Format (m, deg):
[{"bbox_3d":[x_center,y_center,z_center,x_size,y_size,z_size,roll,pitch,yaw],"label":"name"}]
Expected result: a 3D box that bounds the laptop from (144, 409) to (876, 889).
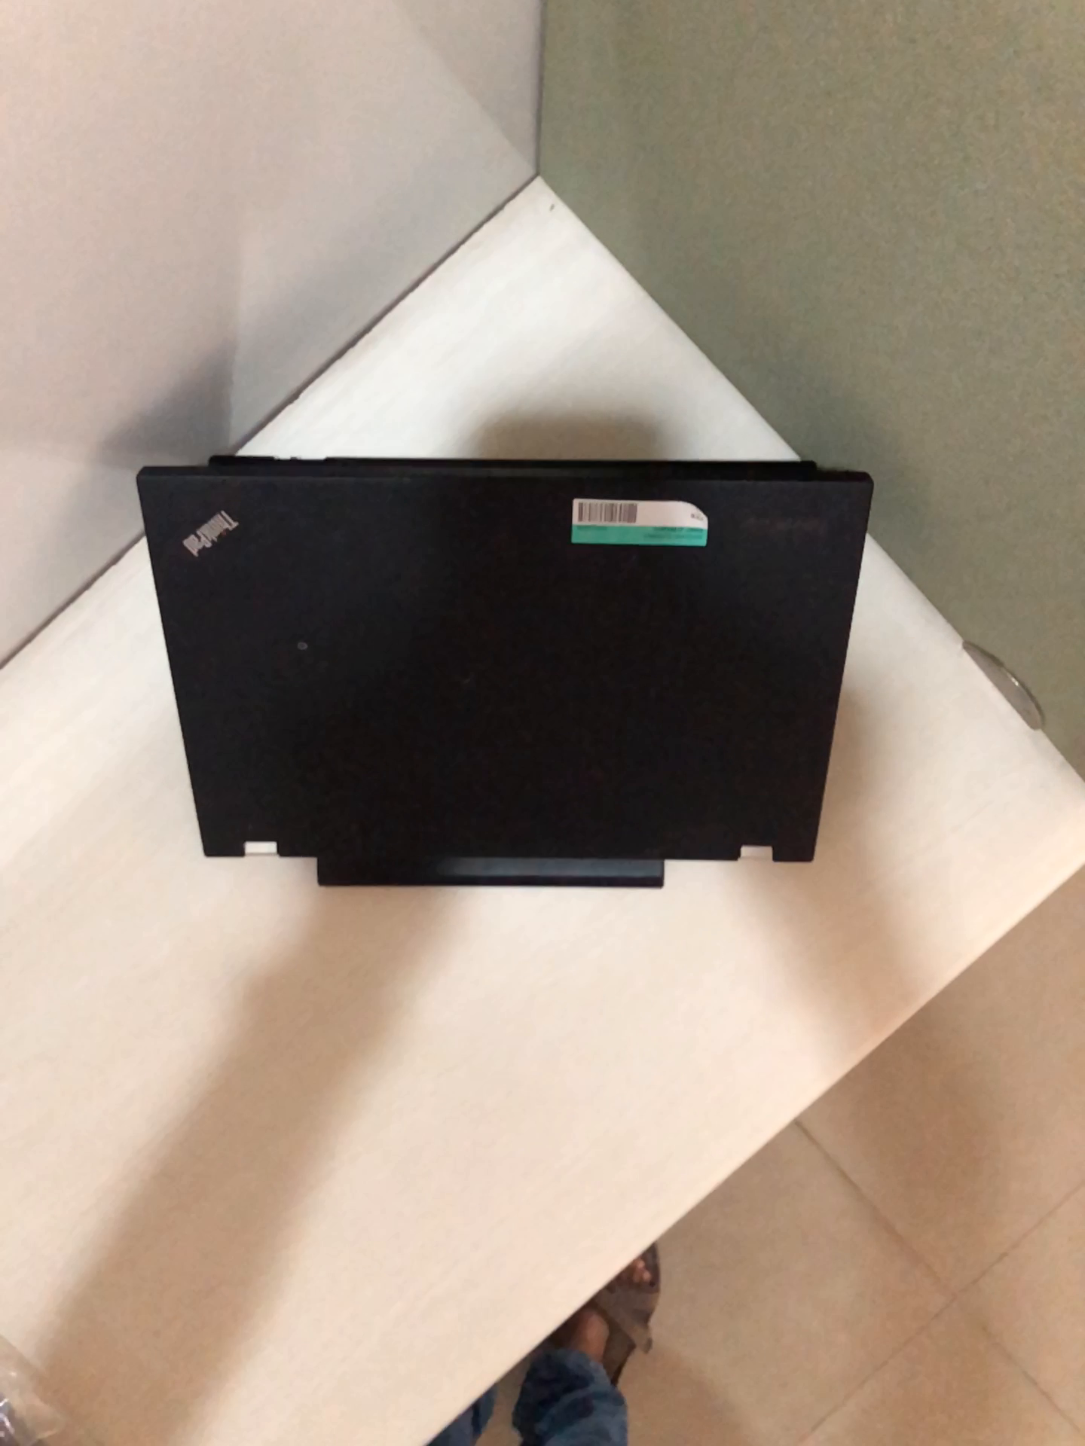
[{"bbox_3d":[-0.019,-0.037,0.656,0.354,0.141,0.232,1,93,1],"label":"laptop"}]
